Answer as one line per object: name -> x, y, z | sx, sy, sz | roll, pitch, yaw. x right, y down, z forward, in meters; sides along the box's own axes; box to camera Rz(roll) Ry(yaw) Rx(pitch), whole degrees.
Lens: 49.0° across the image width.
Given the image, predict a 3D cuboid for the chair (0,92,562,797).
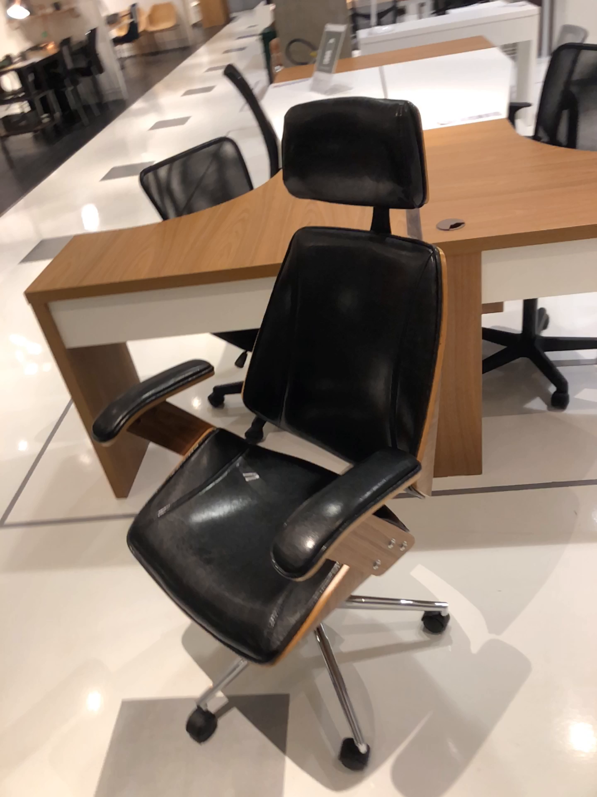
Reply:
chair -> -0.047, 0.101, 1.262 | 0.723, 1.101, 0.763 | 21, 45, 38
